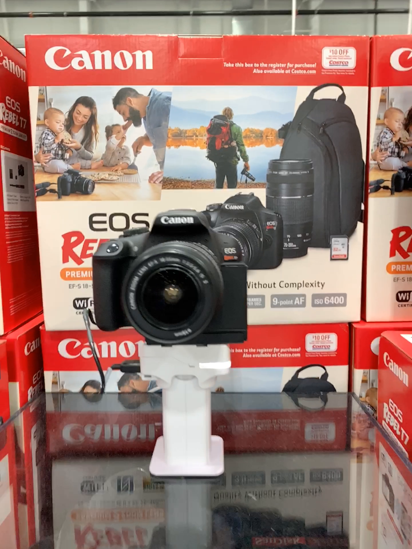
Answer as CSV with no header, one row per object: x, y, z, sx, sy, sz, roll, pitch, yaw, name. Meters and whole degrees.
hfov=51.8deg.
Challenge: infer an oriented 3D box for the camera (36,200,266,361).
-0.030,-0.006,0.342,0.140,0.100,0.160,0,8,3,camera
